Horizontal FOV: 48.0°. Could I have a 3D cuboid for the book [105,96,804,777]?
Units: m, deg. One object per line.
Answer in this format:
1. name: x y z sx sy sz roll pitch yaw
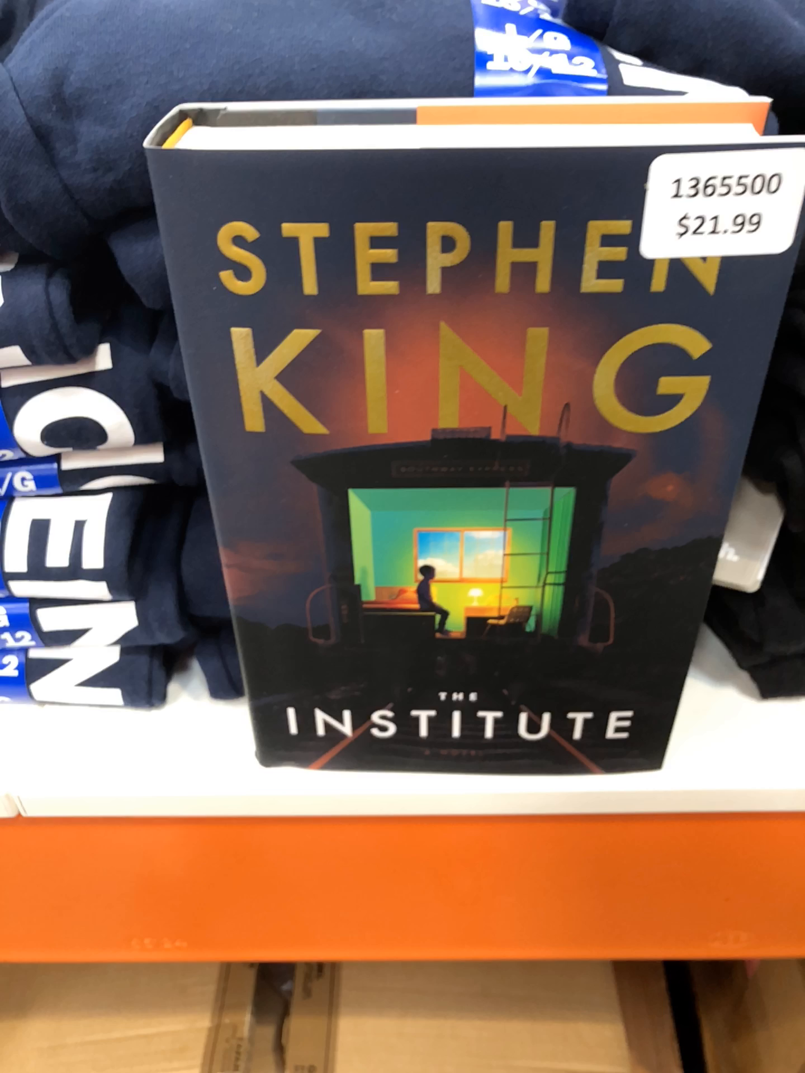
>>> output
1. book: 0.016 -0.014 0.298 0.167 0.229 0.050 0 37 2
